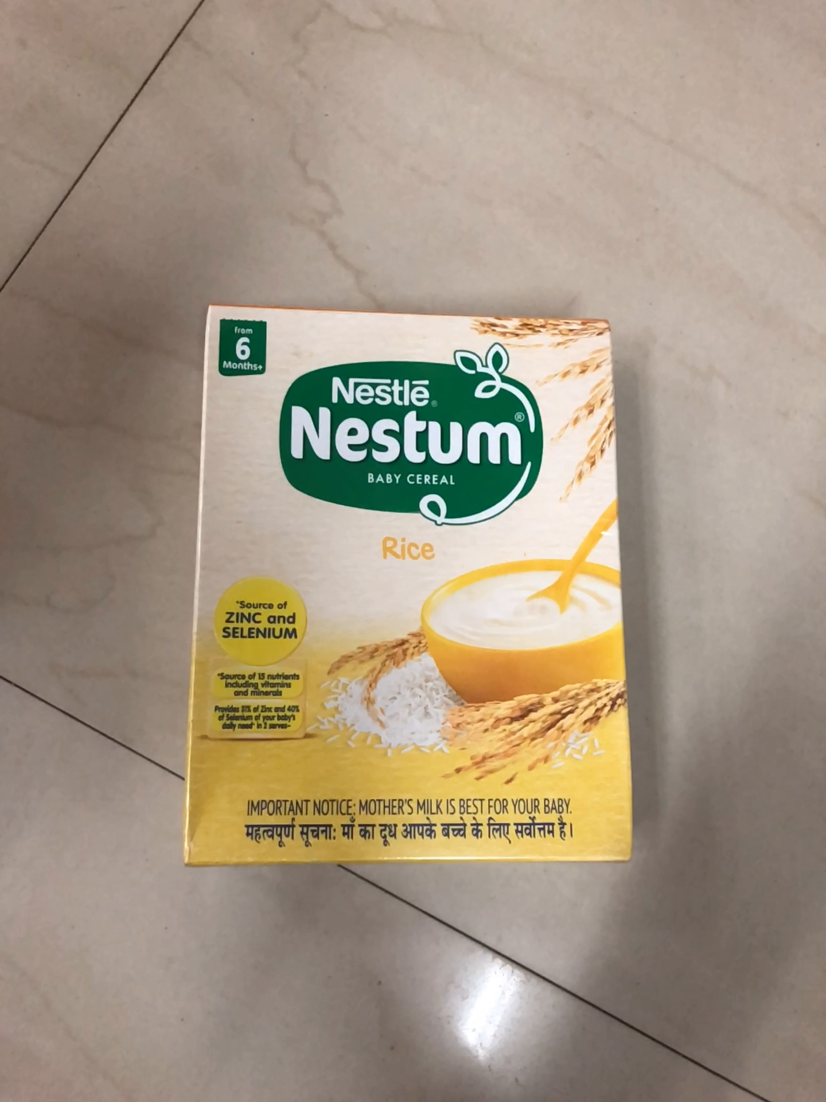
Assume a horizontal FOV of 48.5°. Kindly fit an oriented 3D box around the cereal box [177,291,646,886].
[{"bbox_3d":[0.000,0.013,0.340,0.150,0.060,0.200,1,80,-4],"label":"cereal box"}]
